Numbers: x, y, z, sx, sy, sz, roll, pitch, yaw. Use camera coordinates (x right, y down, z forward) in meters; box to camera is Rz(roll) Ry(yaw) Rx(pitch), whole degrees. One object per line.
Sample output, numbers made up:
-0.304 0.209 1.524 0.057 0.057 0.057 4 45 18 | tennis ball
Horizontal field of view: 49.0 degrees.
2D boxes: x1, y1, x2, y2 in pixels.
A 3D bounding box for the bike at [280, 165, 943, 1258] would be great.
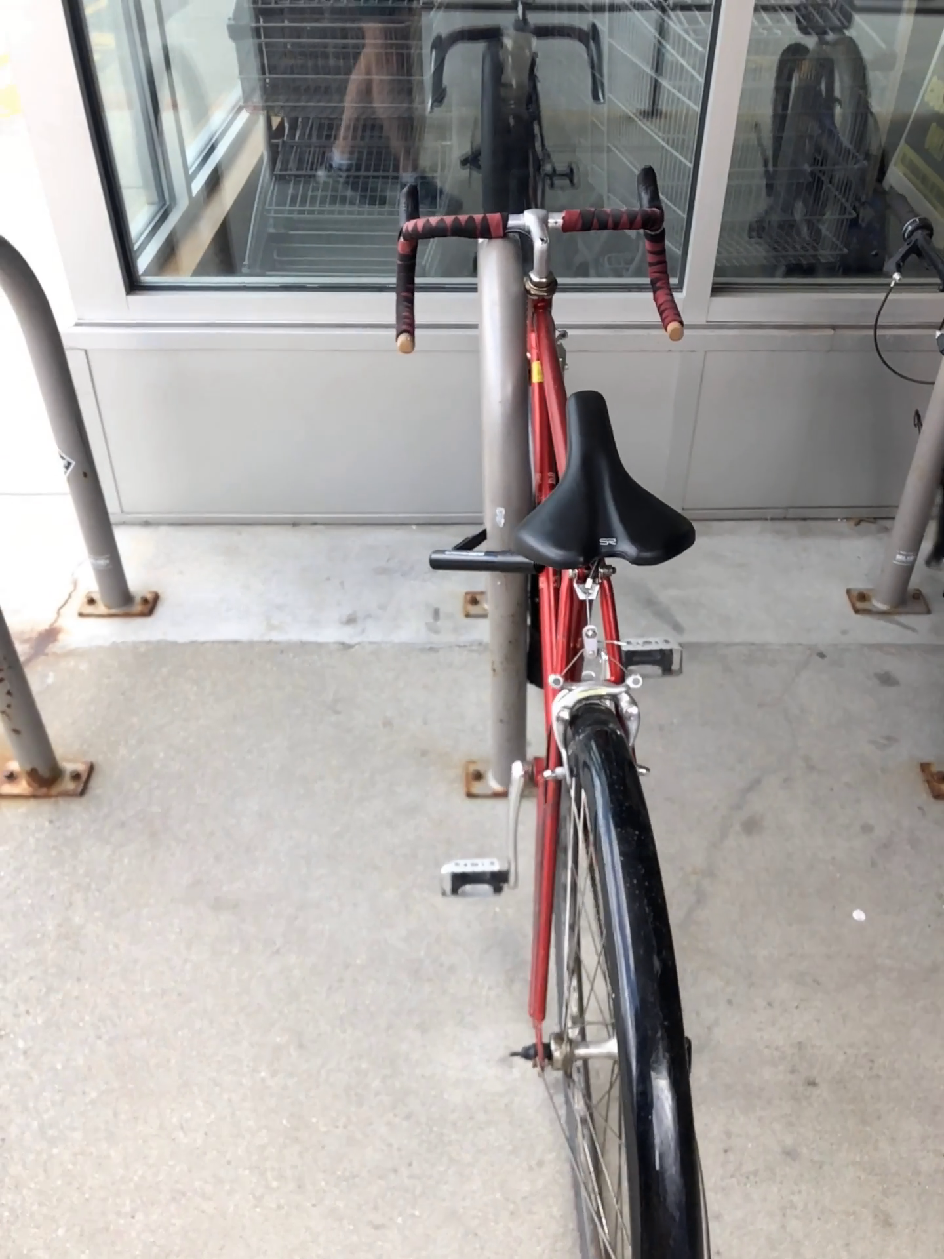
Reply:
0.103 0.069 1.435 0.458 0.787 1.700 -1 42 -1 | bike
